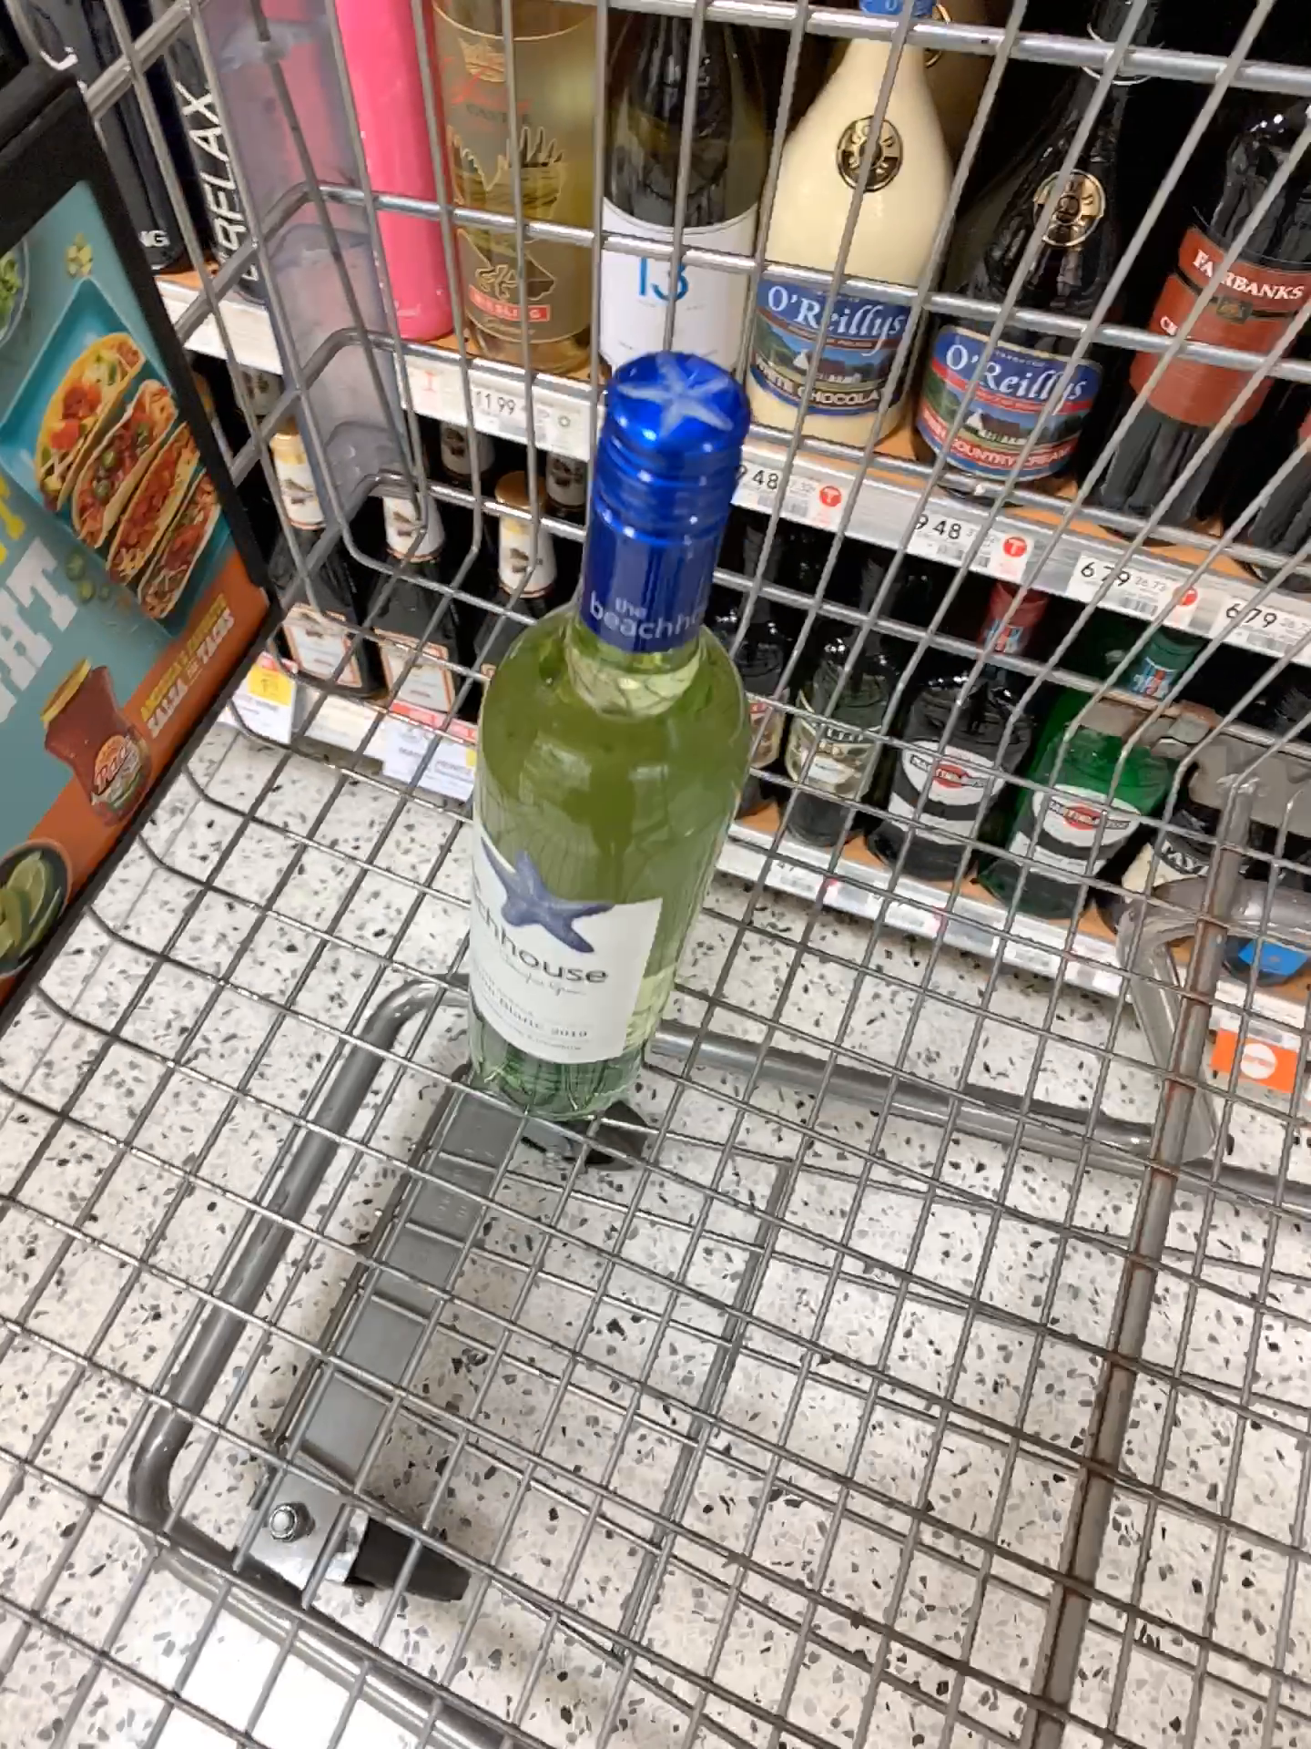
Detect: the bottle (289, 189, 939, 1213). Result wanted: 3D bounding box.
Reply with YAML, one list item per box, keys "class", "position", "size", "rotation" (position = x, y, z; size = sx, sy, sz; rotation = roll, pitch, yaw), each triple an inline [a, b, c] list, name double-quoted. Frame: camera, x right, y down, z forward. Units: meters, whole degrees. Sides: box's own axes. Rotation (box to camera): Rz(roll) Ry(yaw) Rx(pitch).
- class: "bottle"
  position: [-0.020, -0.008, 0.403]
  size: [0.090, 0.338, 0.090]
  rotation: [3, 60, -4]
